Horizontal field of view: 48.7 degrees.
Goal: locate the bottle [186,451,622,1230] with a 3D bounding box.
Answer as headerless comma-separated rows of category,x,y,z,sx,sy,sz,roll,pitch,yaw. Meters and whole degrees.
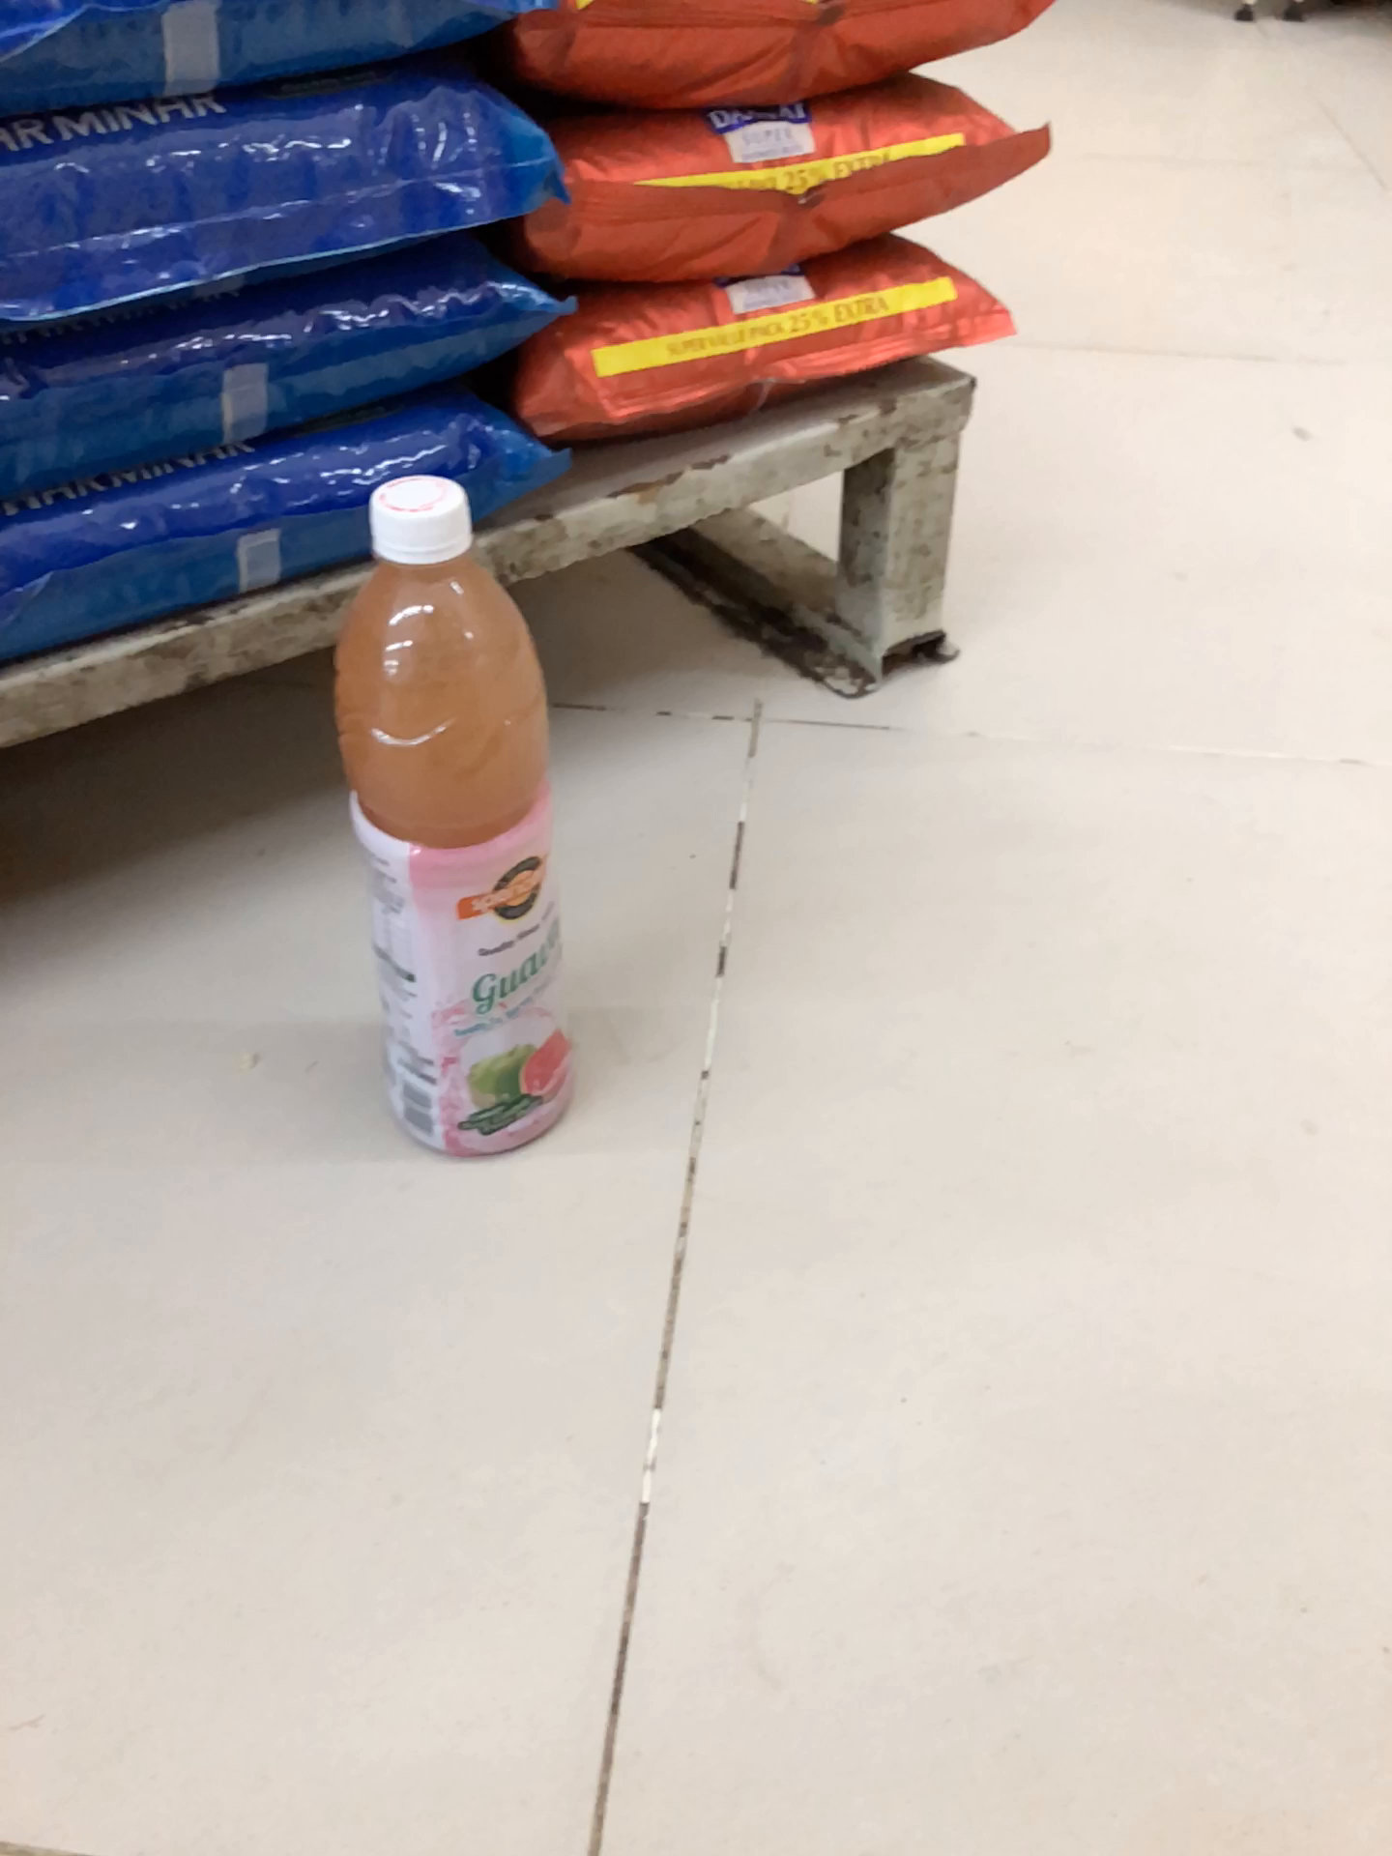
bottle,-0.093,-0.022,0.558,0.090,0.258,0.091,0,41,0
